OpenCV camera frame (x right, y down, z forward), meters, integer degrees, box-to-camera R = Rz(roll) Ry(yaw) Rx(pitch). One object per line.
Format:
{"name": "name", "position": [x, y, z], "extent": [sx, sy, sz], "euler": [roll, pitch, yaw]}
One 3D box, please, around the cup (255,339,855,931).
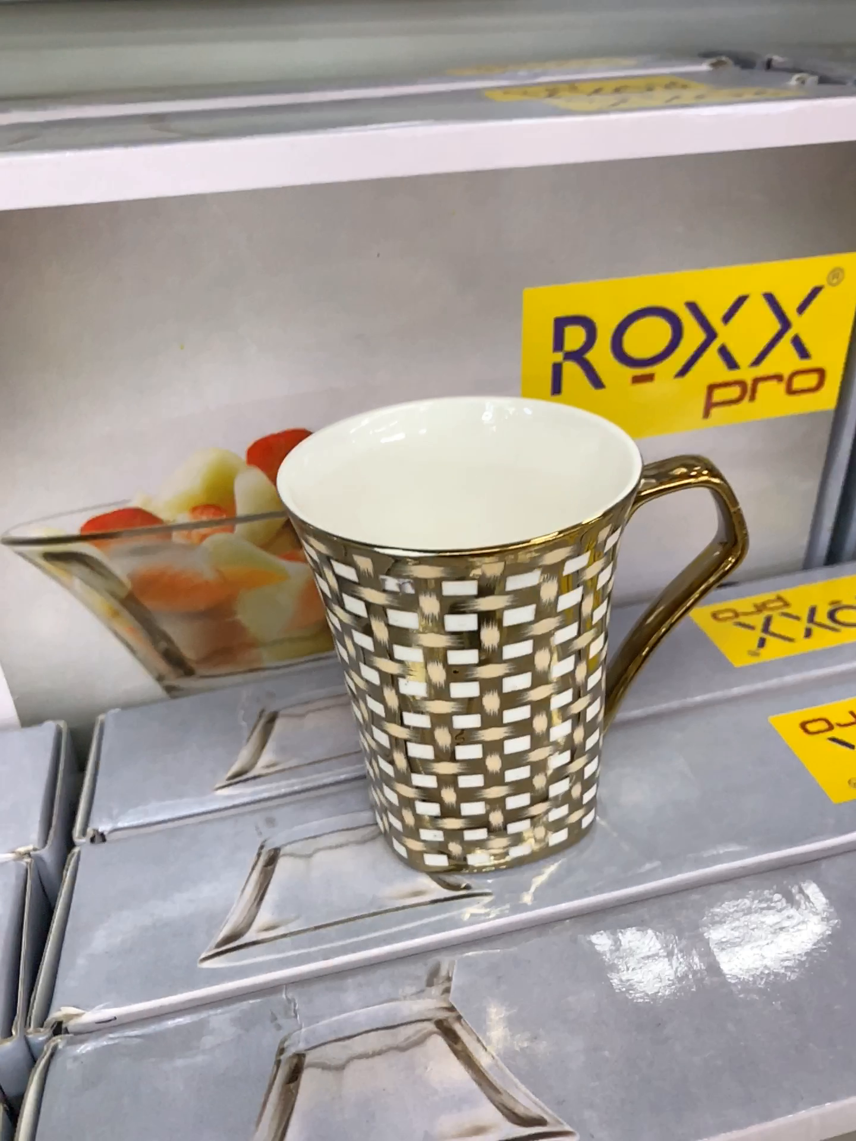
{"name": "cup", "position": [0.025, 0.008, 0.213], "extent": [0.110, 0.089, 0.081], "euler": [-10, 33, -13]}
